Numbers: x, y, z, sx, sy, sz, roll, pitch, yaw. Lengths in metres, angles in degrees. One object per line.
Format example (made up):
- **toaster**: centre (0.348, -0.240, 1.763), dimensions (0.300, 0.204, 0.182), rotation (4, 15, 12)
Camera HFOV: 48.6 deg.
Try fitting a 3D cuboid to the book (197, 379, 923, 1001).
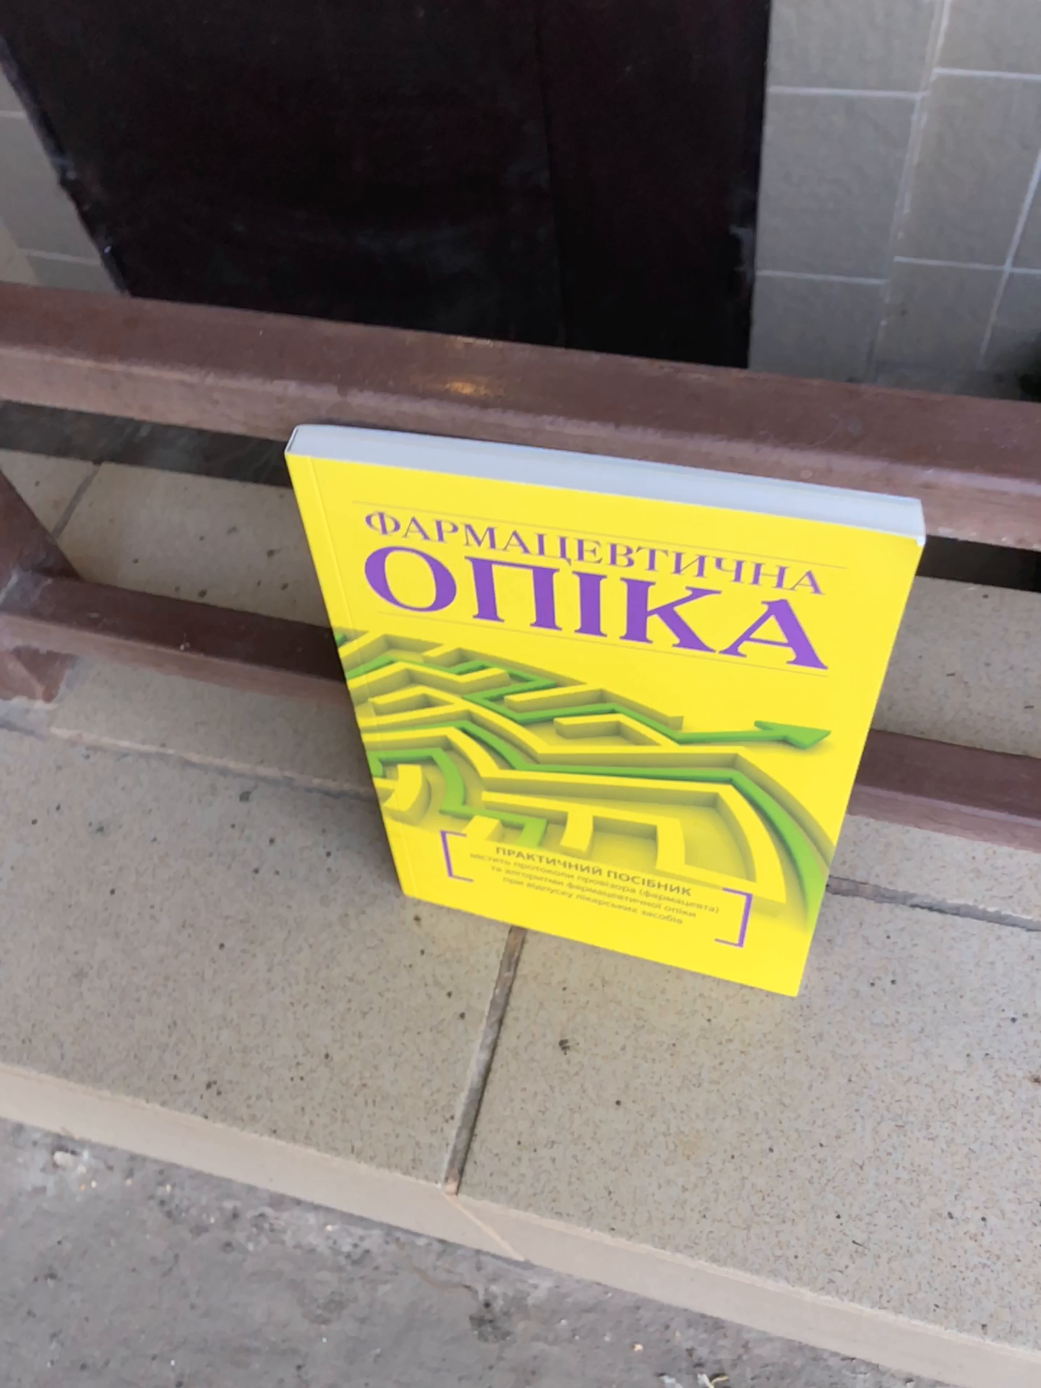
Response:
- **book**: centre (0.014, 0.016, 0.381), dimensions (0.180, 0.240, 0.030), rotation (11, 53, 14)
